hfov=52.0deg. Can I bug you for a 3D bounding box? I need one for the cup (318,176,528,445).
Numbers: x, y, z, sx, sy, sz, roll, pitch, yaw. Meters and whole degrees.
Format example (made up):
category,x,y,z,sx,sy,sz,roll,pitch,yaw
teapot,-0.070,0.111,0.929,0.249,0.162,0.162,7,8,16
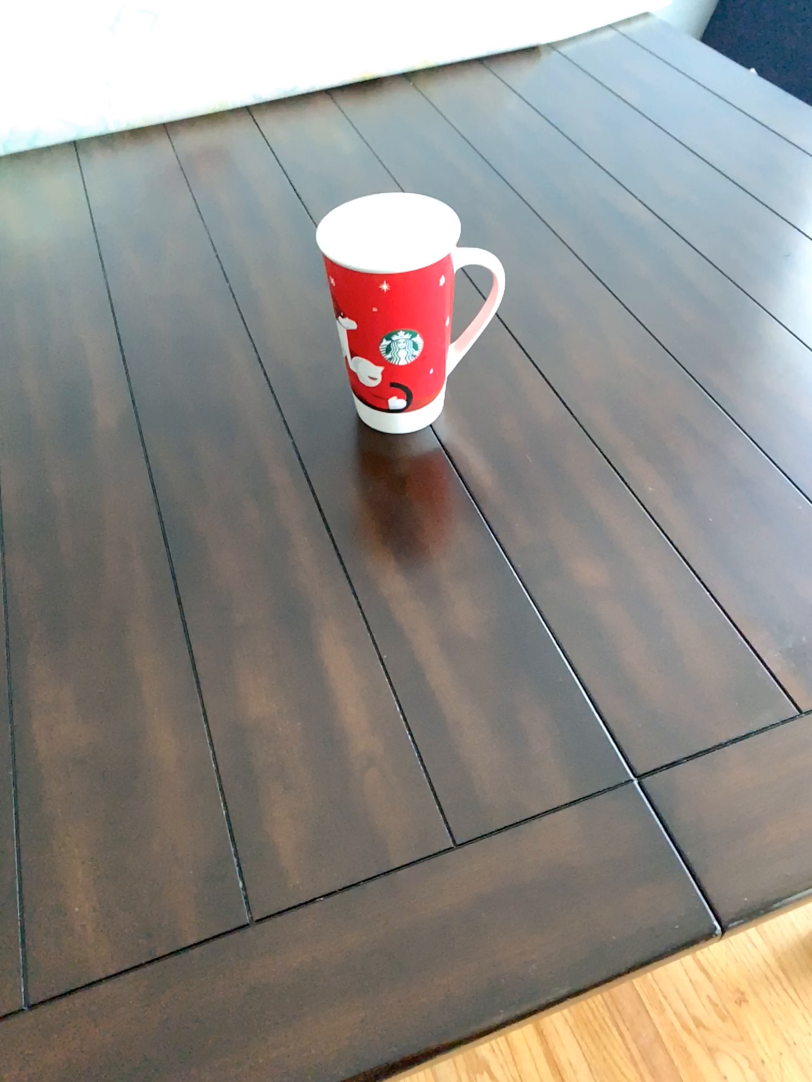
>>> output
category,x,y,z,sx,sy,sz,roll,pitch,yaw
cup,0.010,-0.150,0.559,0.120,0.149,0.080,-3,50,0
